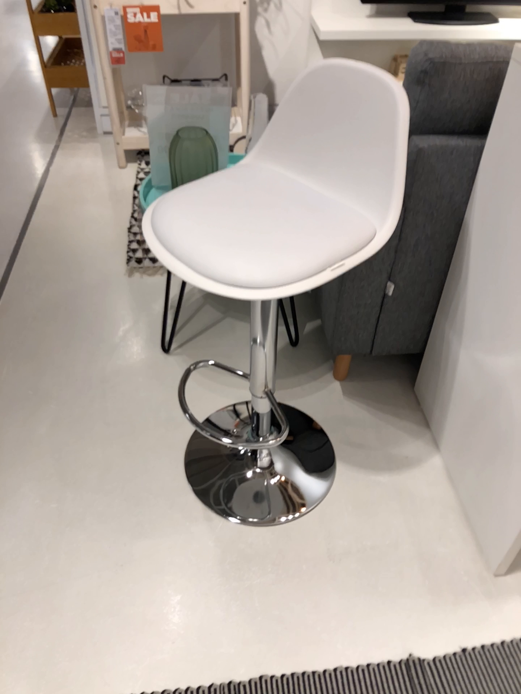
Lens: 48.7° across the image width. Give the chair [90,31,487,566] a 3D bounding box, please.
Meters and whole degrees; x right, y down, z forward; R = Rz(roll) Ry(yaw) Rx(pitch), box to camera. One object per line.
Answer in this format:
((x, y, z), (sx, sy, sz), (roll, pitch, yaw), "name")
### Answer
((0.025, -0.061, 1.140), (0.421, 0.883, 0.412), (-26, 48, -27), "chair")
